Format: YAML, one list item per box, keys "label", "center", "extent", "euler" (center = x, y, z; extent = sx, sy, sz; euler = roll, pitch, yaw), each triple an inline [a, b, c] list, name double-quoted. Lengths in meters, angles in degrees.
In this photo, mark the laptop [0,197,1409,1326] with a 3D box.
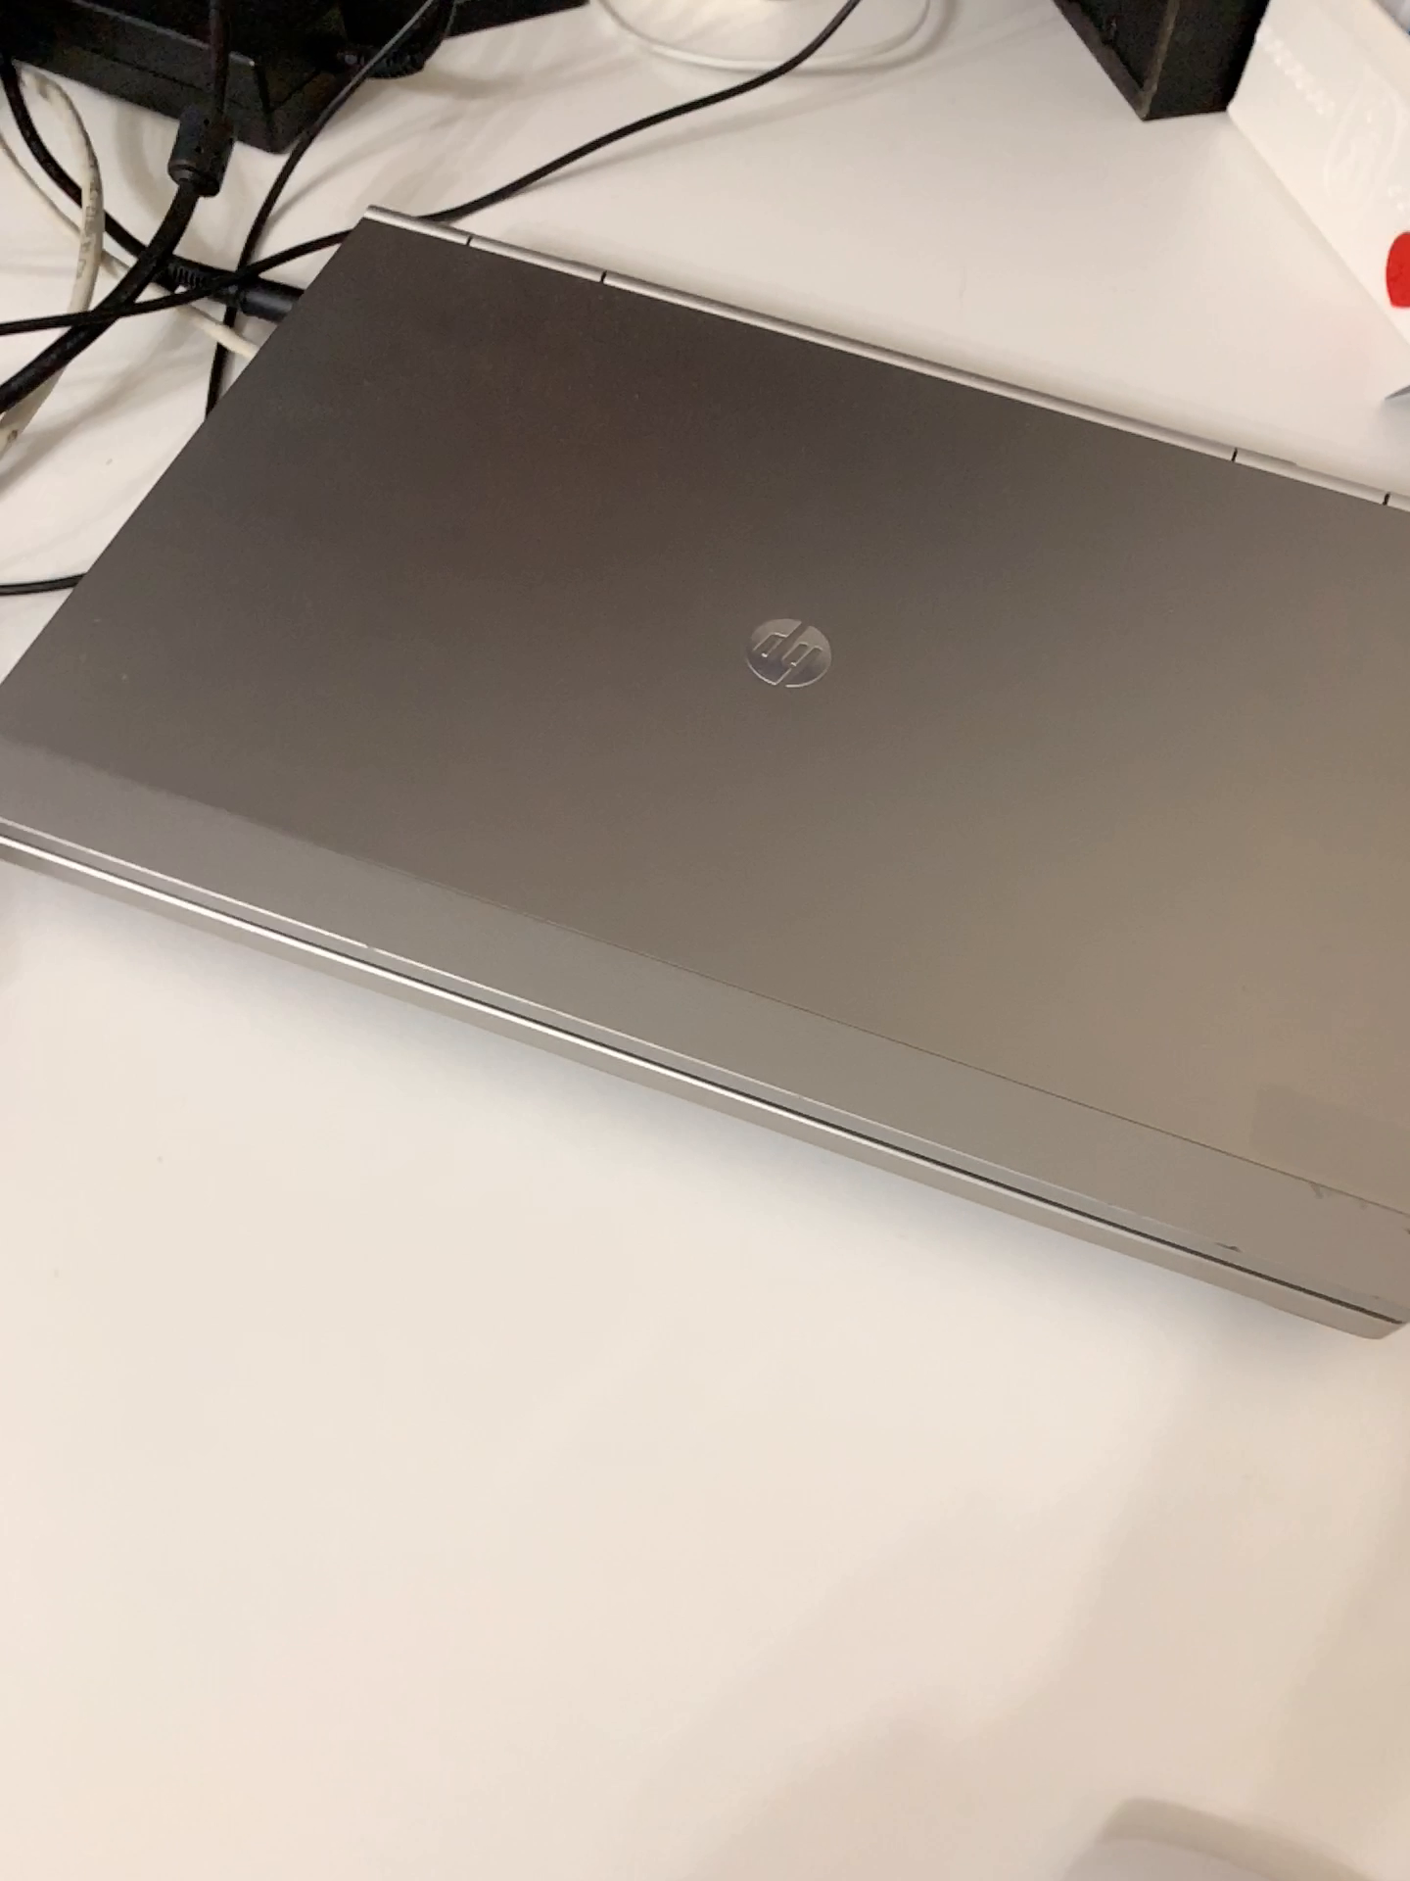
- label: "laptop"
  center: [0.008, -0.060, 0.324]
  extent: [0.291, 0.016, 0.193]
  euler: [19, 64, 7]
